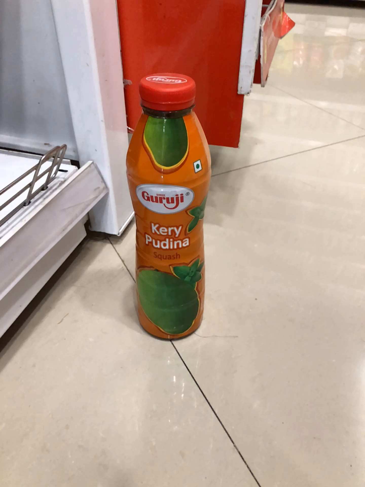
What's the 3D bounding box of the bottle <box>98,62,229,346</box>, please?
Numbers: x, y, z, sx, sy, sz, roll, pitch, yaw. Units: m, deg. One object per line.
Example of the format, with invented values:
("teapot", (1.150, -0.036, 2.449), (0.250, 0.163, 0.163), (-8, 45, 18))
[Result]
("bottle", (-0.010, -0.020, 0.352), (0.080, 0.238, 0.081), (0, 39, 0))
